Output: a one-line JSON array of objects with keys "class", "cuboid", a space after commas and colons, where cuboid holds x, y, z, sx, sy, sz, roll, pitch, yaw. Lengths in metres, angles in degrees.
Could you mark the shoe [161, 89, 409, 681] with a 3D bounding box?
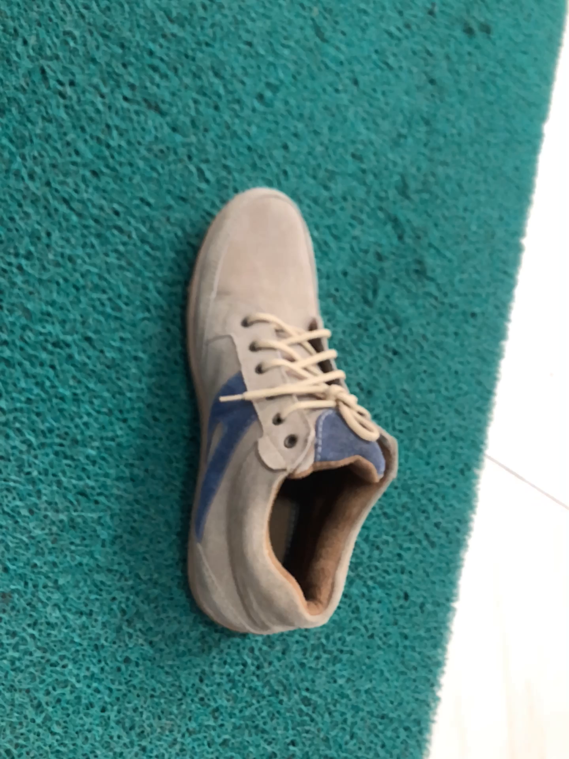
[{"class": "shoe", "cuboid": [0.001, 0.004, 0.416, 0.101, 0.119, 0.320, 9, 77, -34]}]
